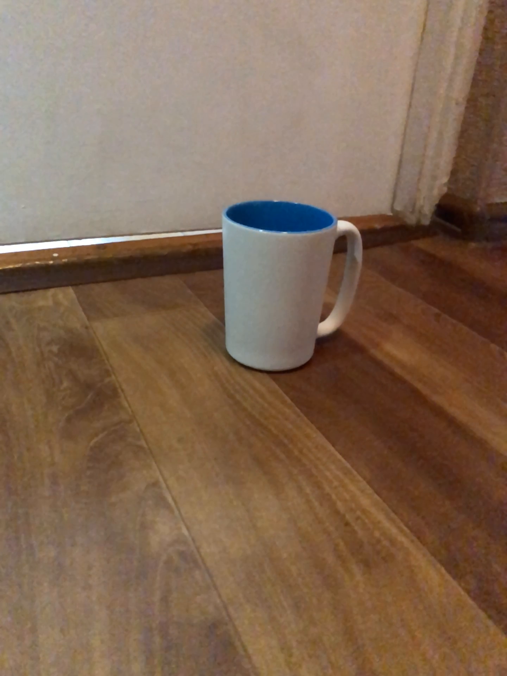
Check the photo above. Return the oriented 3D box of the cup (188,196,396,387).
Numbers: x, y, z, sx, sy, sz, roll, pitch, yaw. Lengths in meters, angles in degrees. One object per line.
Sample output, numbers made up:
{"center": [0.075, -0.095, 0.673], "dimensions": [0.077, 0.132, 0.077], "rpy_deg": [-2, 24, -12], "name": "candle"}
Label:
{"center": [0.024, -0.043, 0.441], "dimensions": [0.129, 0.112, 0.089], "rpy_deg": [-8, 30, -22], "name": "cup"}
